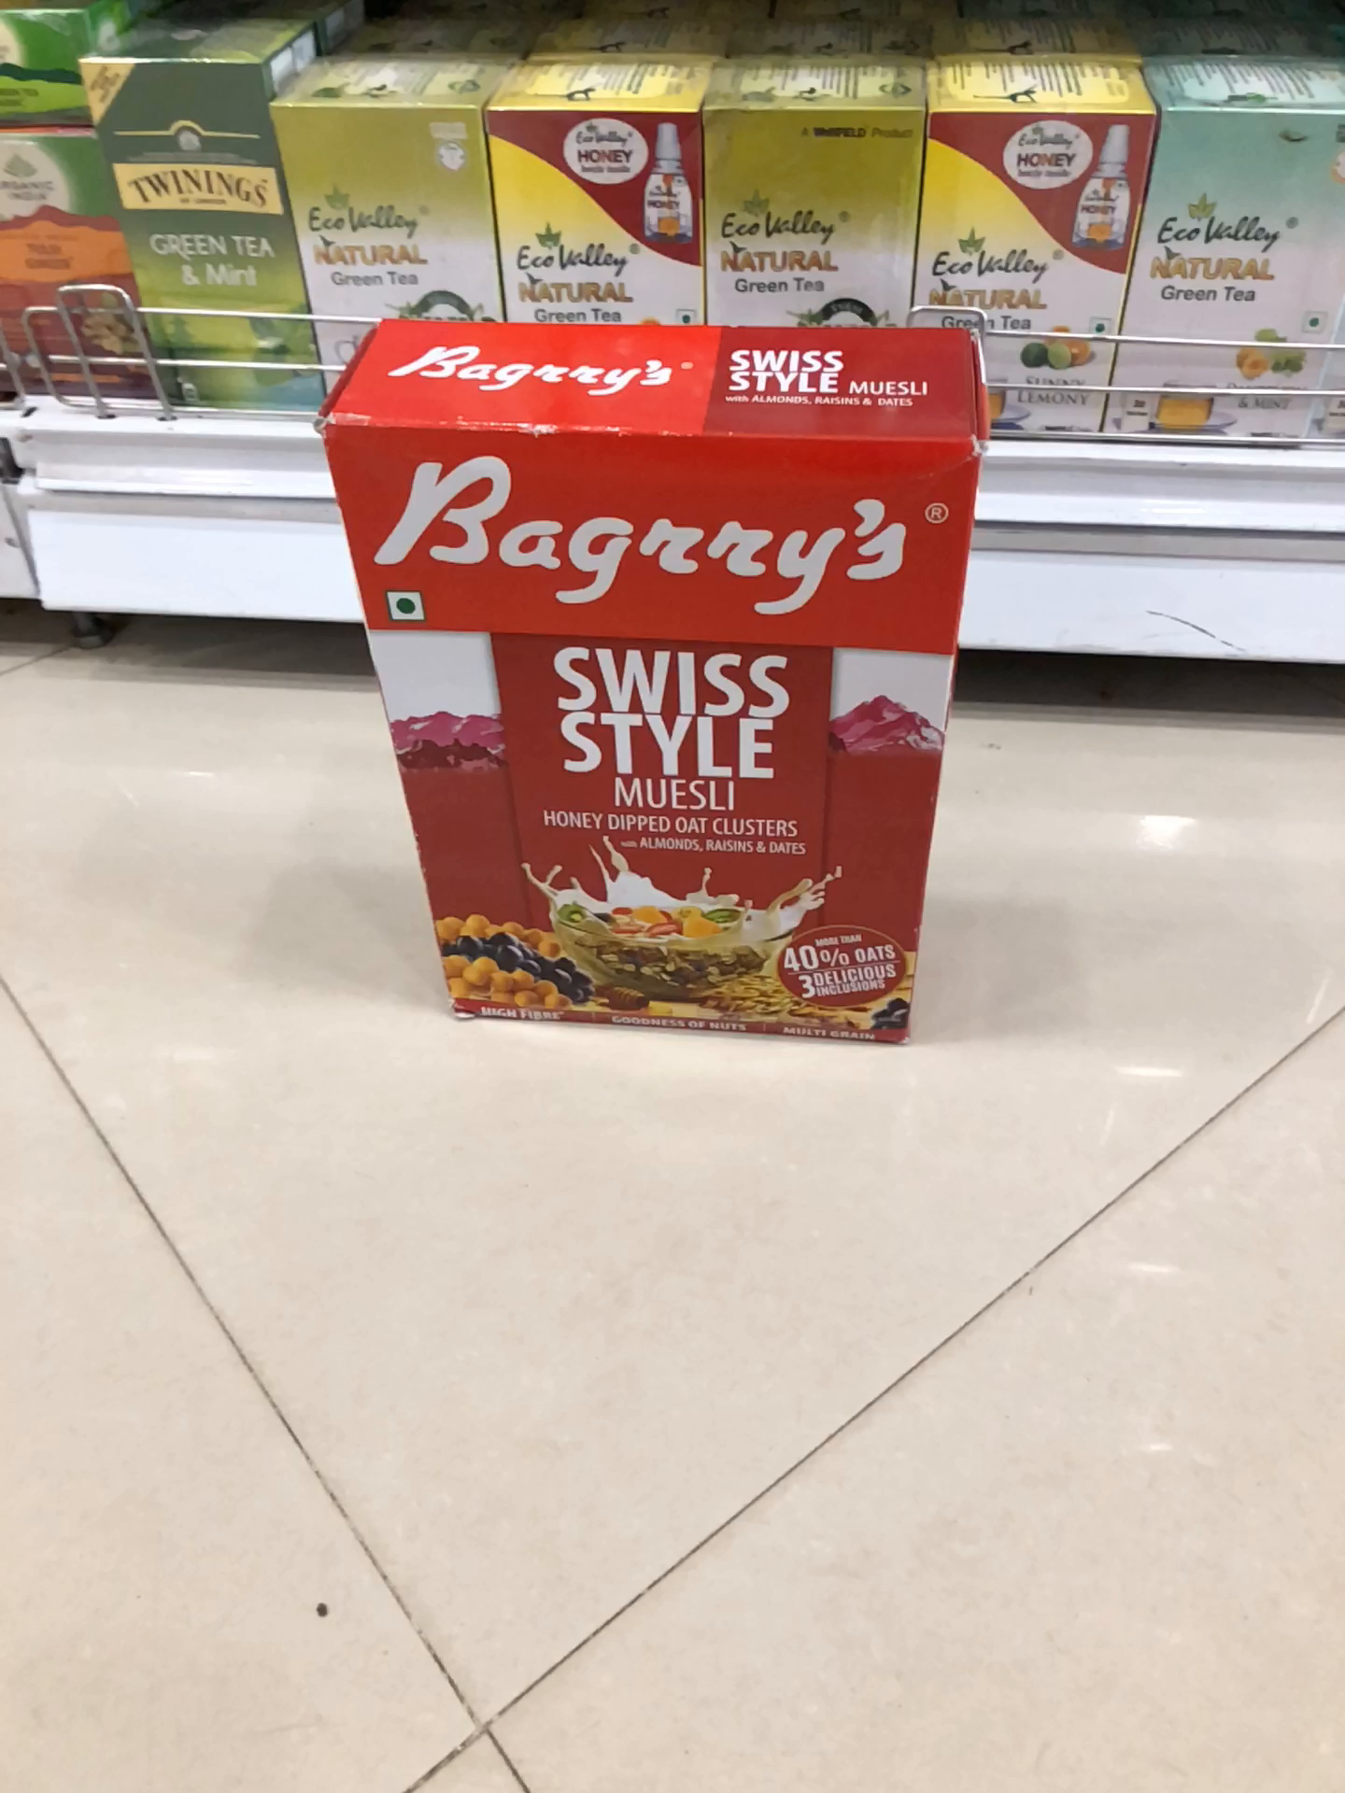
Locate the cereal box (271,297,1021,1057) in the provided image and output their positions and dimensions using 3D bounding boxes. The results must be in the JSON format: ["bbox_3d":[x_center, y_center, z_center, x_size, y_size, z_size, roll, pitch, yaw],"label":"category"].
[{"bbox_3d":[0.000,-0.063,0.506,0.200,0.248,0.081,3,44,6],"label":"cereal box"}]
